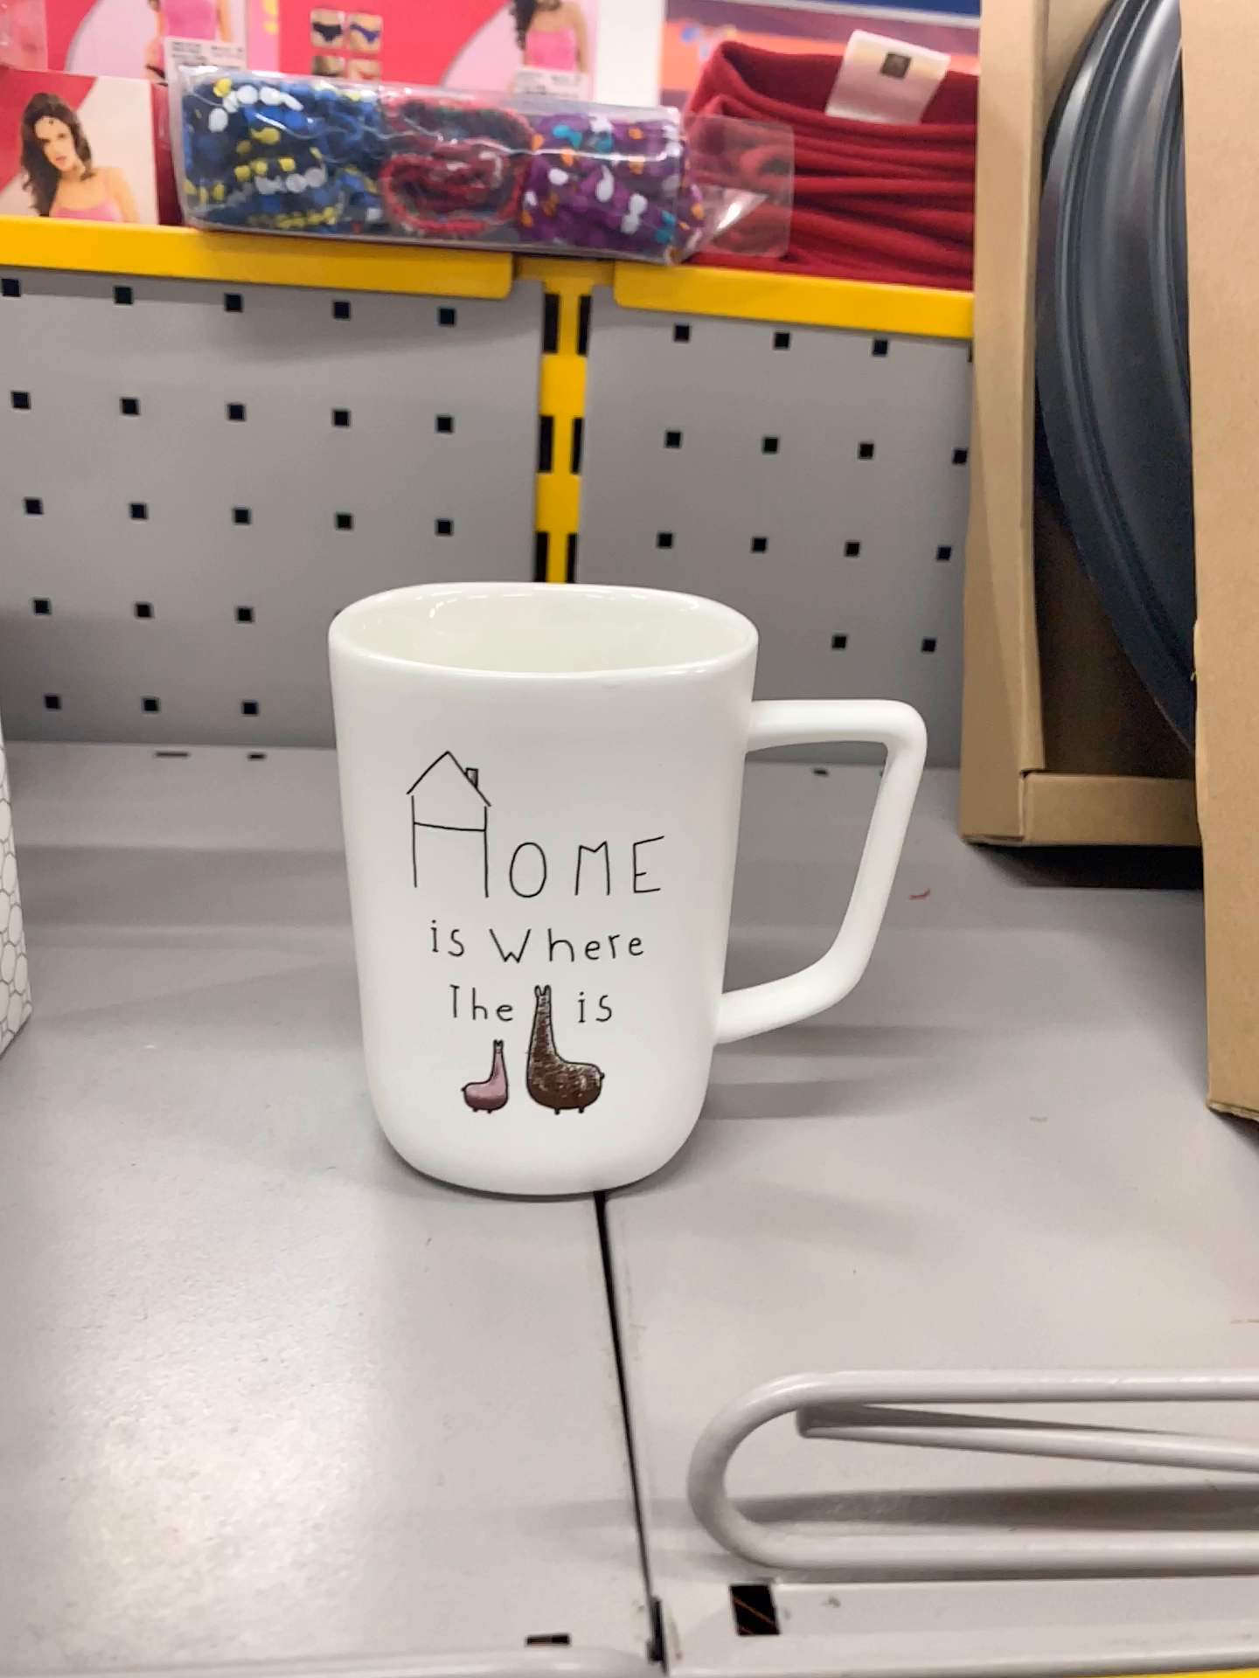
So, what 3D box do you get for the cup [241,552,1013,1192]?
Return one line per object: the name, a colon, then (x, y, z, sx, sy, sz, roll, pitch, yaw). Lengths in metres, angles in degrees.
cup: (-0.005, 0.004, 0.252, 0.120, 0.100, 0.070, 1, 22, -7)
